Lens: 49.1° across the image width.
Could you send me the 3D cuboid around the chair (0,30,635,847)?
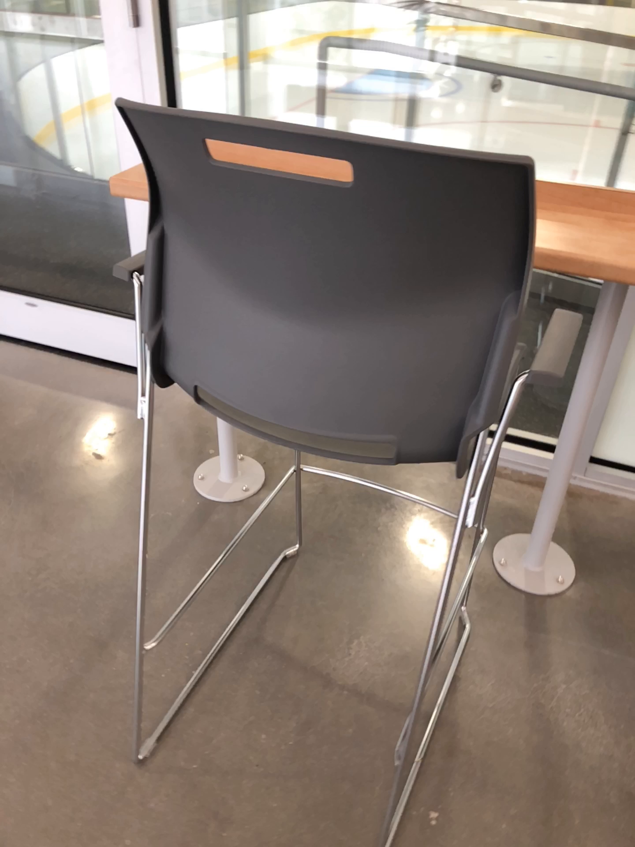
[{"bbox_3d":[0.054,0.050,1.093,0.601,1.072,0.664,16,37,18],"label":"chair"}]
